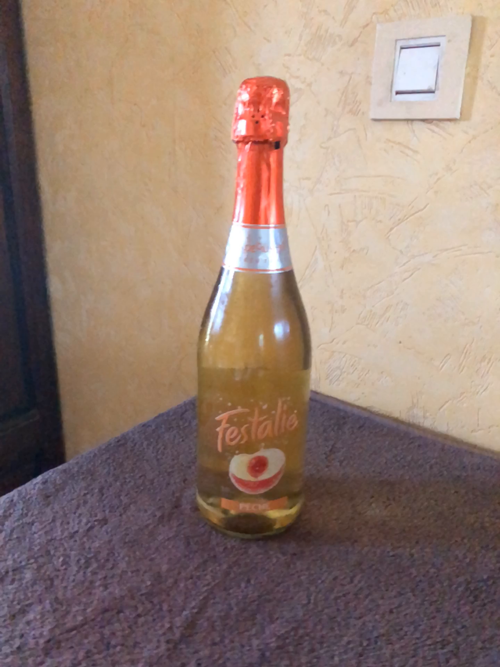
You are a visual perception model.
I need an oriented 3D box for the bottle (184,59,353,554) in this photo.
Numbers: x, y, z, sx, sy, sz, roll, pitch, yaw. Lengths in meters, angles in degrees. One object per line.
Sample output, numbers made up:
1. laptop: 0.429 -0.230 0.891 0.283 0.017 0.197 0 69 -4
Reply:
1. bottle: 0.004 -0.010 0.380 0.090 0.309 0.090 1 18 0
